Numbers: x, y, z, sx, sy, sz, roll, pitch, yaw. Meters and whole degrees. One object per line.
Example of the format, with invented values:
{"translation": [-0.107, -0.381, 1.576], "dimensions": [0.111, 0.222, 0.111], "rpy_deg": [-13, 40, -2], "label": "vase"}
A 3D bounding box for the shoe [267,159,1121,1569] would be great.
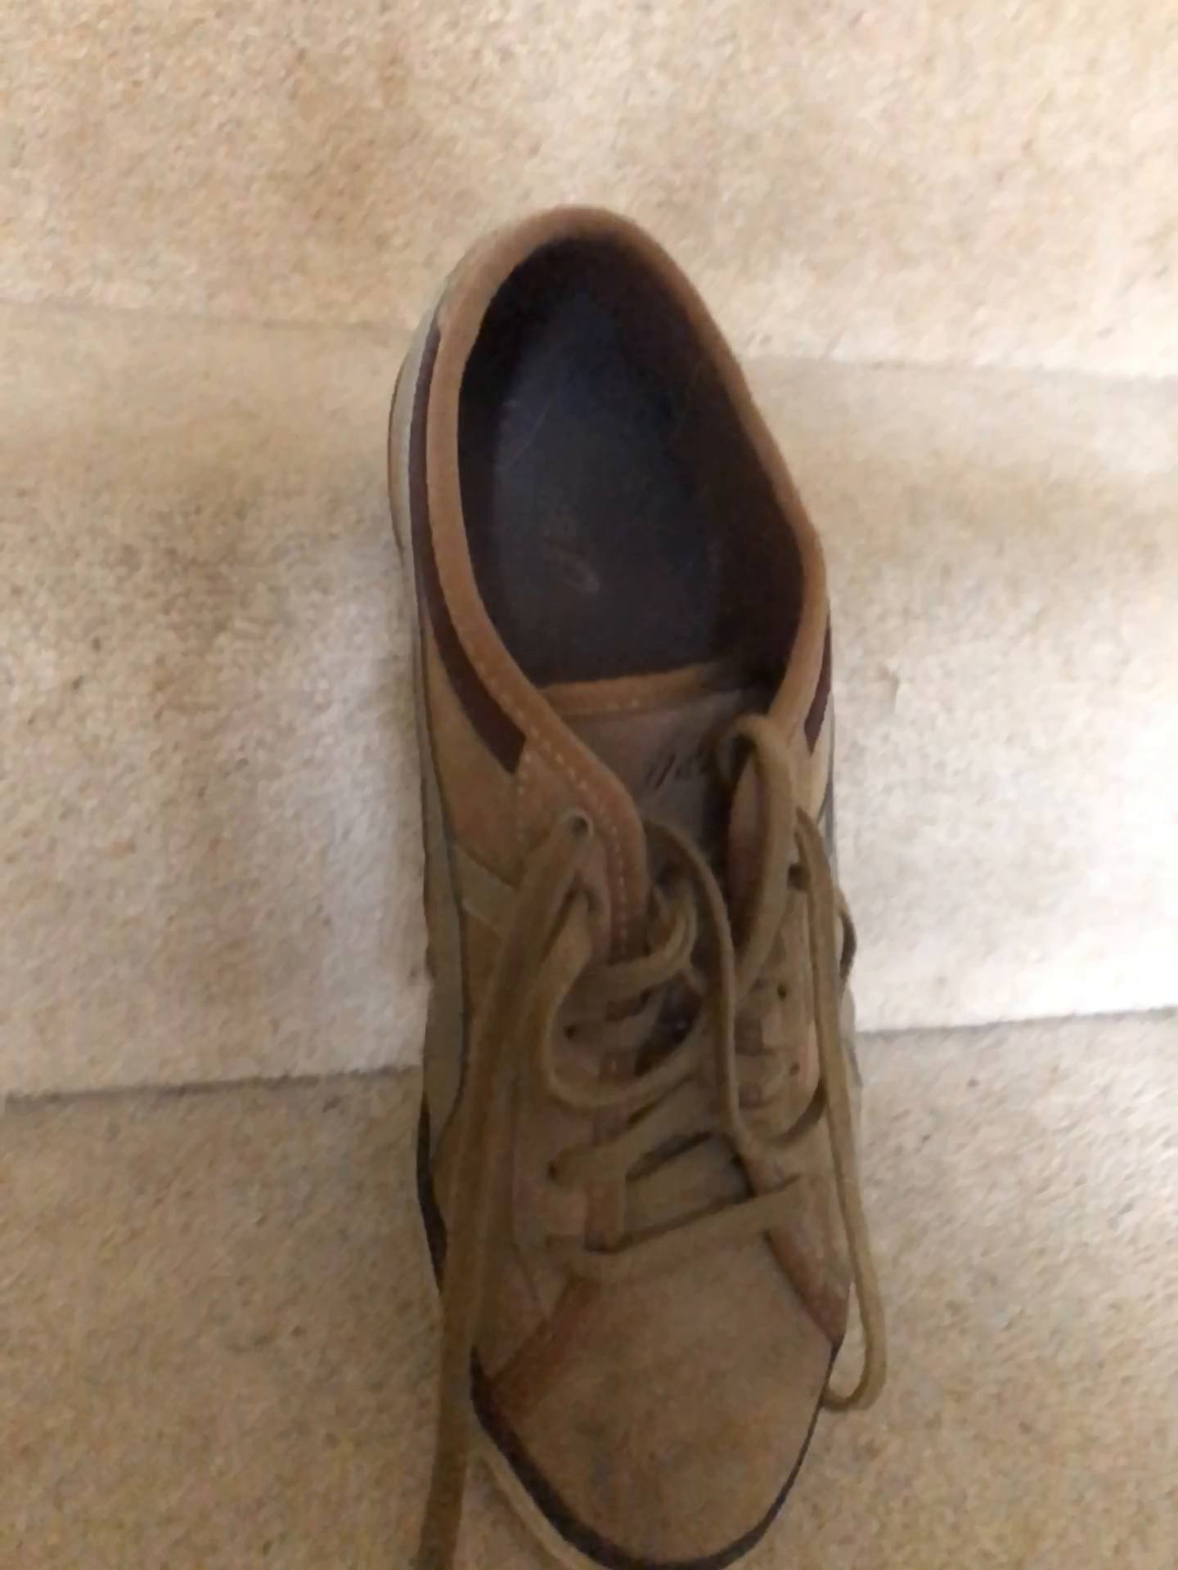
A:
{"translation": [0.002, 0.035, 0.285], "dimensions": [0.110, 0.301, 0.120], "rpy_deg": [-5, -11, -11], "label": "shoe"}
